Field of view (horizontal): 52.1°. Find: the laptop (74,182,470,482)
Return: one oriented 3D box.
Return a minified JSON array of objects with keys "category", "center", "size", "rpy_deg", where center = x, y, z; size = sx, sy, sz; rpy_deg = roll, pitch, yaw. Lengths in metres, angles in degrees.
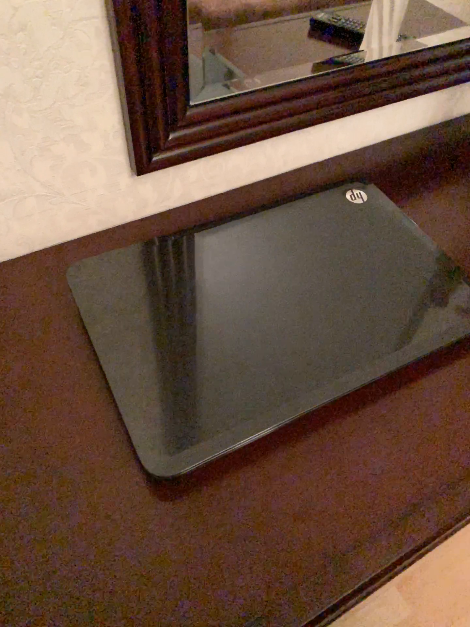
[{"category":"laptop","center":[0.049,-0.020,0.460],"size":[0.341,0.007,0.224],"rpy_deg":[-21,56,-22]}]
